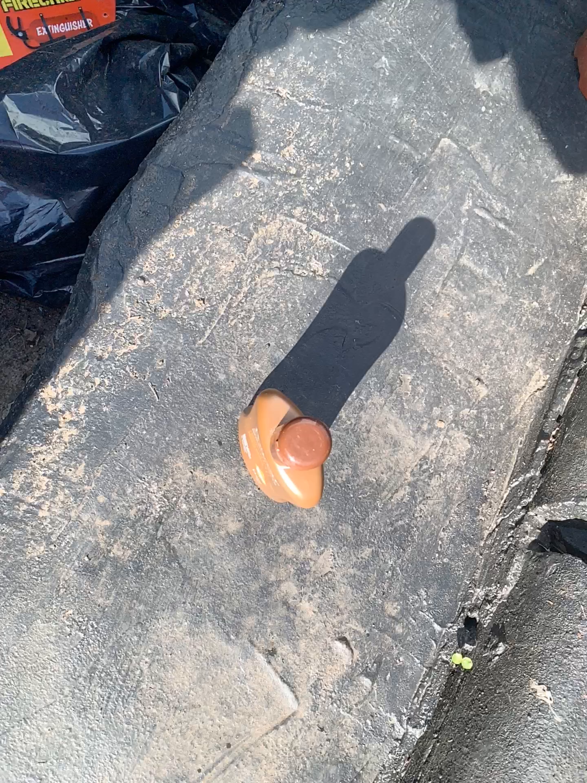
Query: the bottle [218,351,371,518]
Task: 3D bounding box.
[{"bbox_3d":[-0.008,0.031,0.360,0.040,0.150,0.070,-22,86,-13],"label":"bottle"}]
